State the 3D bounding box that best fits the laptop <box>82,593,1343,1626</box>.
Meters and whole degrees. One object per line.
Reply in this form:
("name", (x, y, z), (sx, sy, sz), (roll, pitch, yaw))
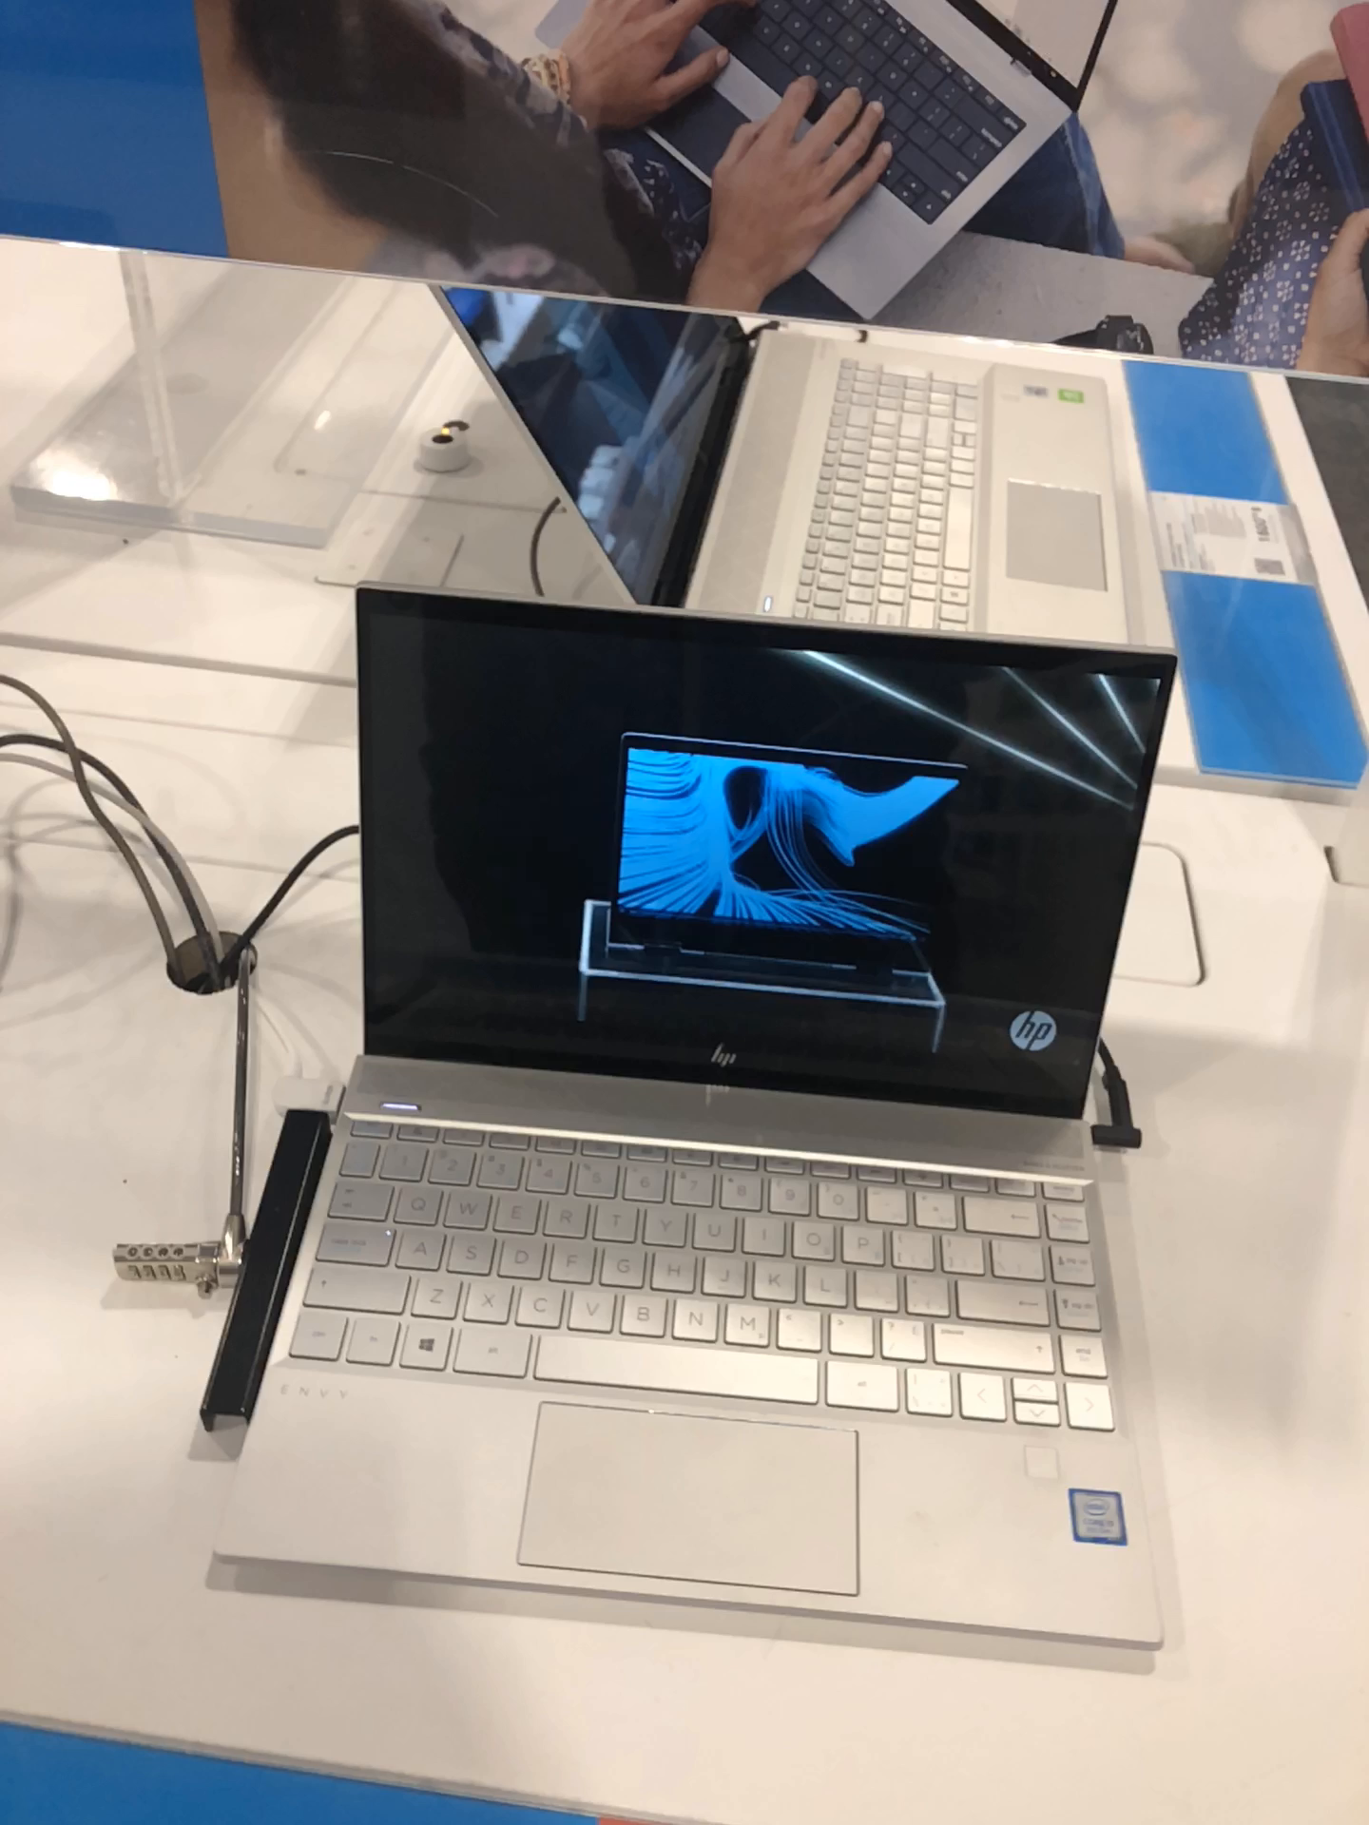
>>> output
("laptop", (0.014, 0.056, 0.517), (0.298, 0.182, 0.273), (5, 44, 1))
